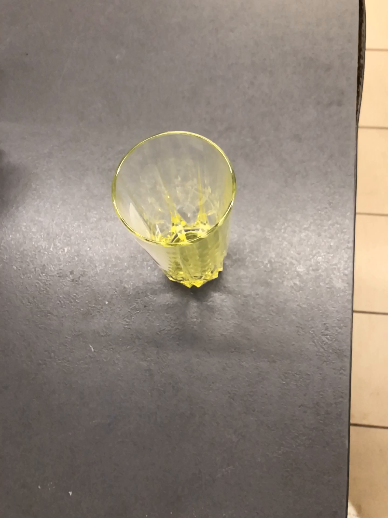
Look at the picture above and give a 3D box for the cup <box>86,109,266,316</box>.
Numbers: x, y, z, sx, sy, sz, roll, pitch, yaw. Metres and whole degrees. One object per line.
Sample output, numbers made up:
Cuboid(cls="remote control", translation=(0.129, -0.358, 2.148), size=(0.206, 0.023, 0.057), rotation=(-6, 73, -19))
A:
Cuboid(cls="cup", translation=(-0.006, -0.020, 0.302), size=(0.070, 0.134, 0.075), rotation=(-1, 74, 4))
